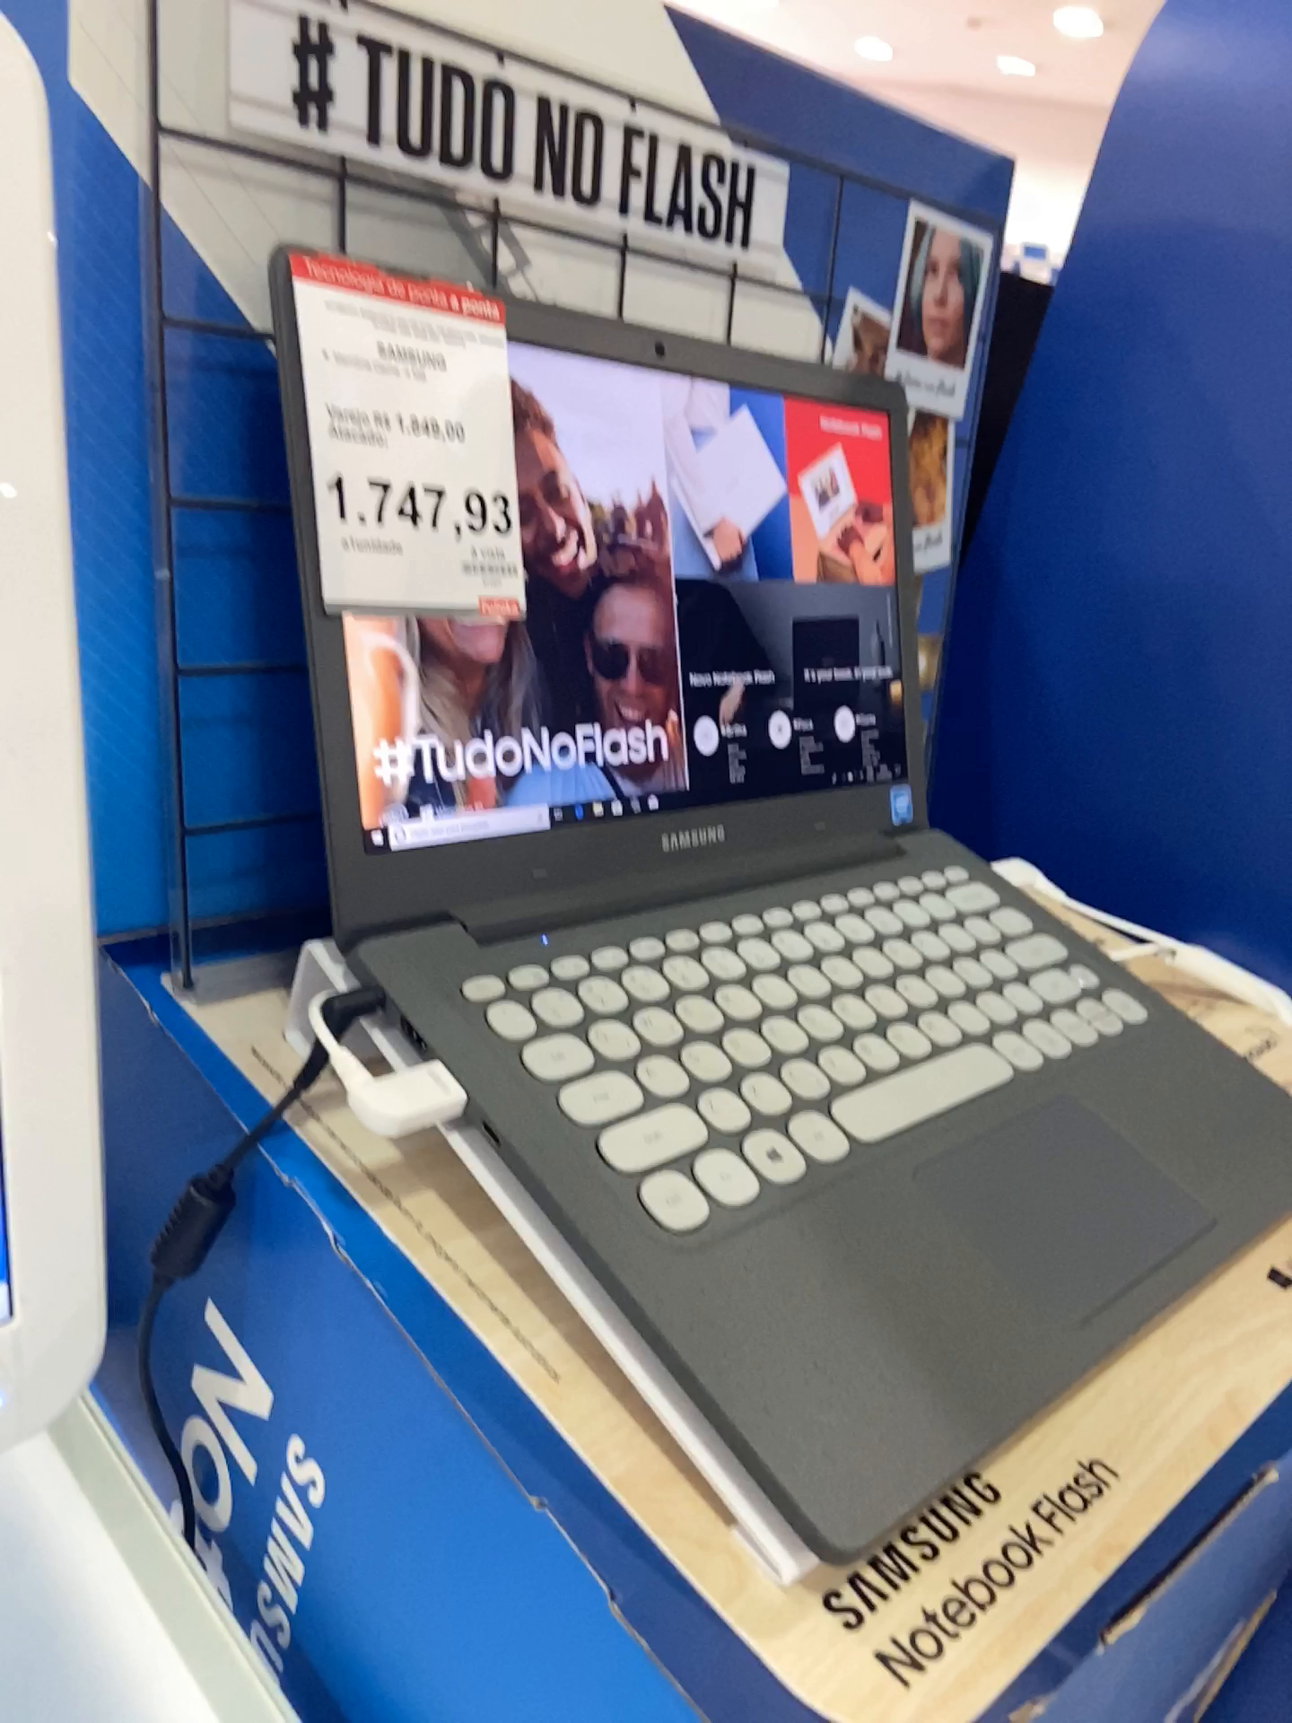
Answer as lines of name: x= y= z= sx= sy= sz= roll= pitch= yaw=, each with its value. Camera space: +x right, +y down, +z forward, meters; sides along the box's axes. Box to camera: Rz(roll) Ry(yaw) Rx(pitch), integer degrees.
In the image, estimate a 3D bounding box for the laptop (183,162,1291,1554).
laptop: x=0.074 y=-0.051 z=0.458 sx=0.323 sy=0.181 sz=0.345 roll=-9 pitch=40 yaw=-43
